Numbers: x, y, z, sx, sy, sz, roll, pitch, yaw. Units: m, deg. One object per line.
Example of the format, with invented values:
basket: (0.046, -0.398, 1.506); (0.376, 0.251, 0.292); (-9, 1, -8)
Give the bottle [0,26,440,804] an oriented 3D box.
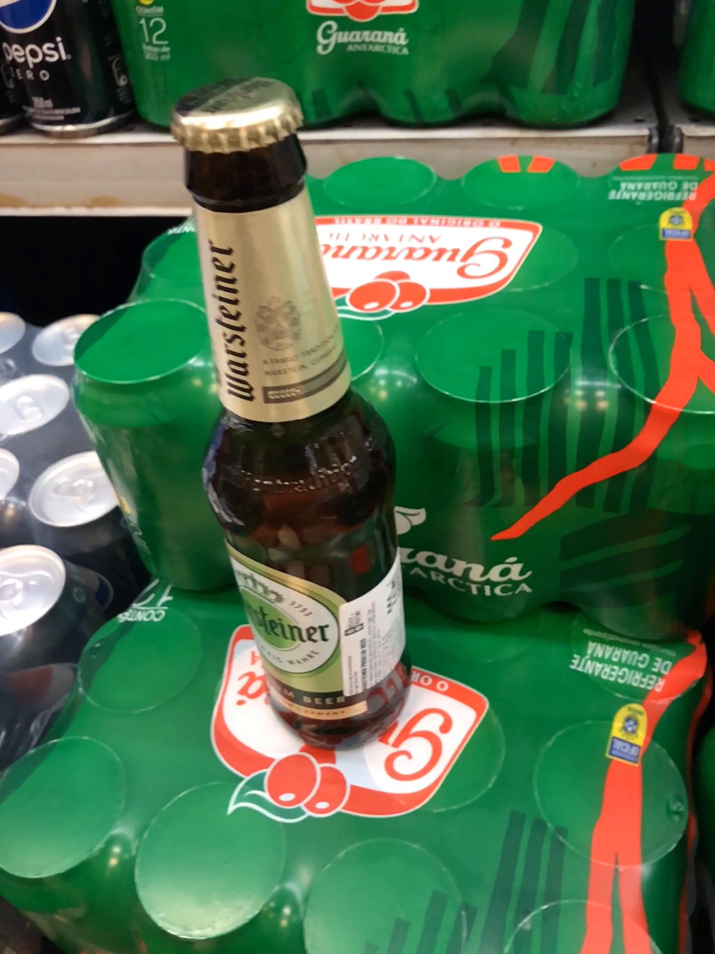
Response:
bottle: (-0.024, 0.004, 0.240); (0.070, 0.228, 0.060); (31, 56, 32)
